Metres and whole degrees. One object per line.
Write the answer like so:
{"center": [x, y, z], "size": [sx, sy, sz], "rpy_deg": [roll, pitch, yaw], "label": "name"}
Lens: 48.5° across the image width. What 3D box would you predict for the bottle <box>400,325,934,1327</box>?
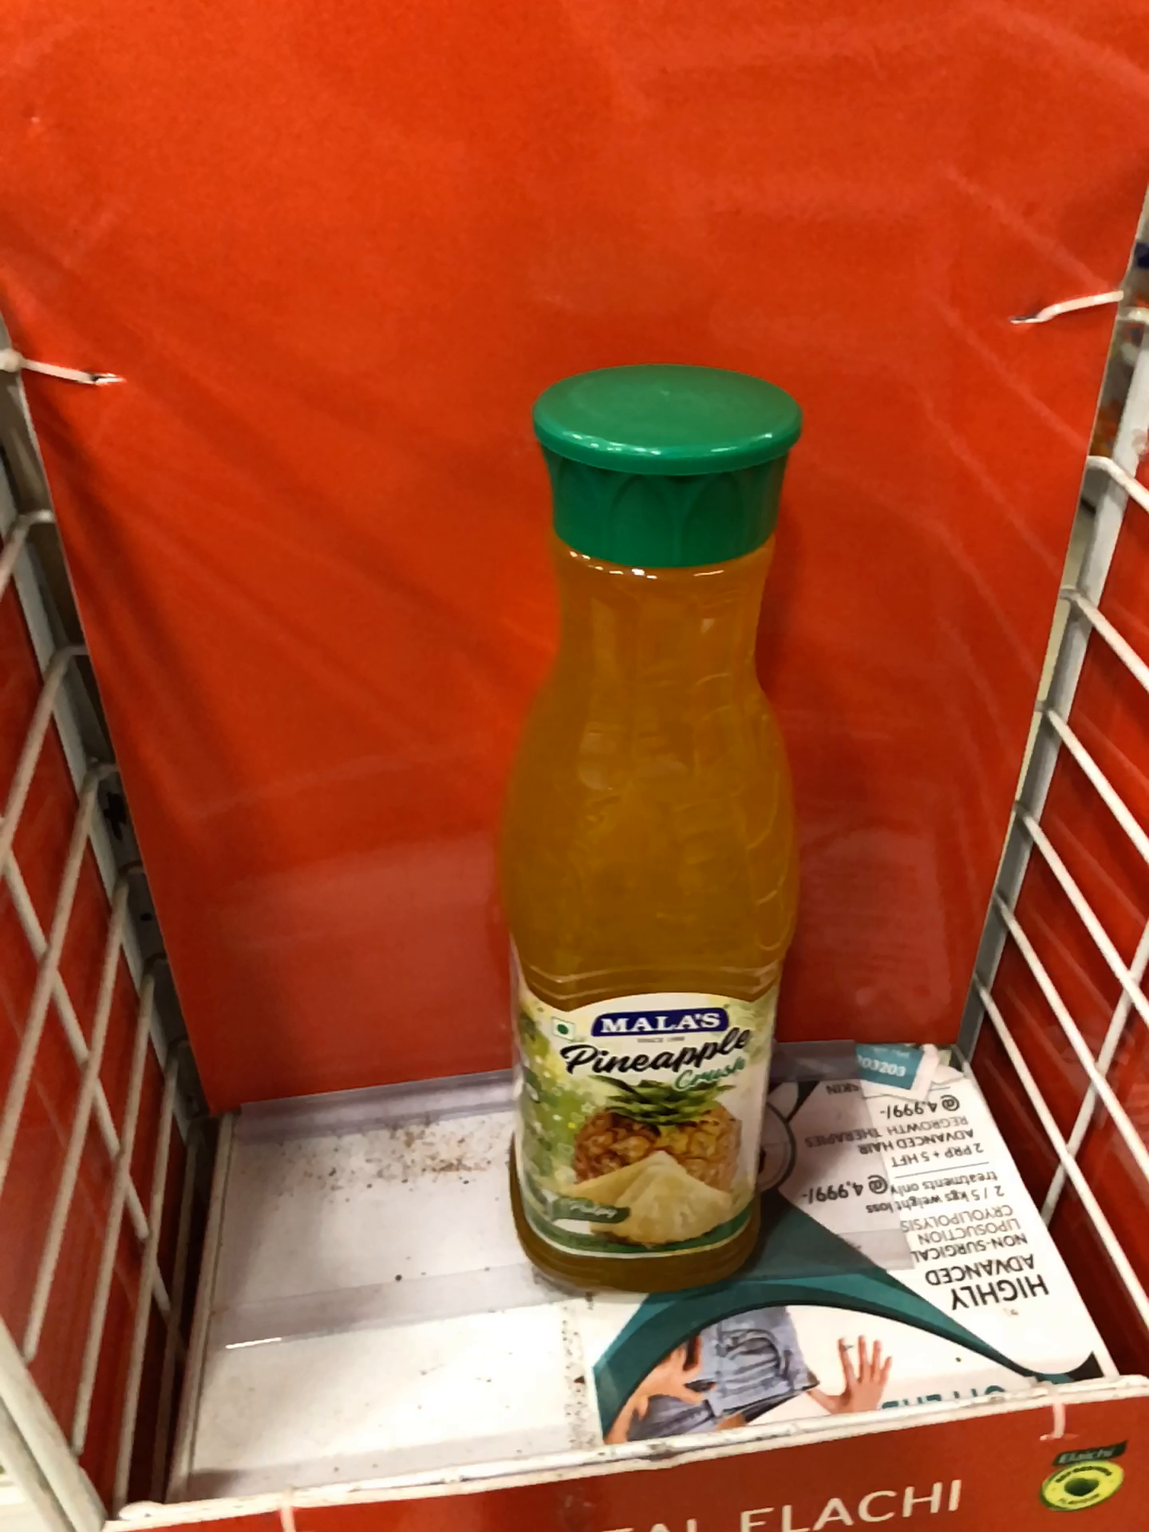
{"center": [0.016, 0.033, 0.319], "size": [0.090, 0.258, 0.070], "rpy_deg": [-3, 36, -2], "label": "bottle"}
